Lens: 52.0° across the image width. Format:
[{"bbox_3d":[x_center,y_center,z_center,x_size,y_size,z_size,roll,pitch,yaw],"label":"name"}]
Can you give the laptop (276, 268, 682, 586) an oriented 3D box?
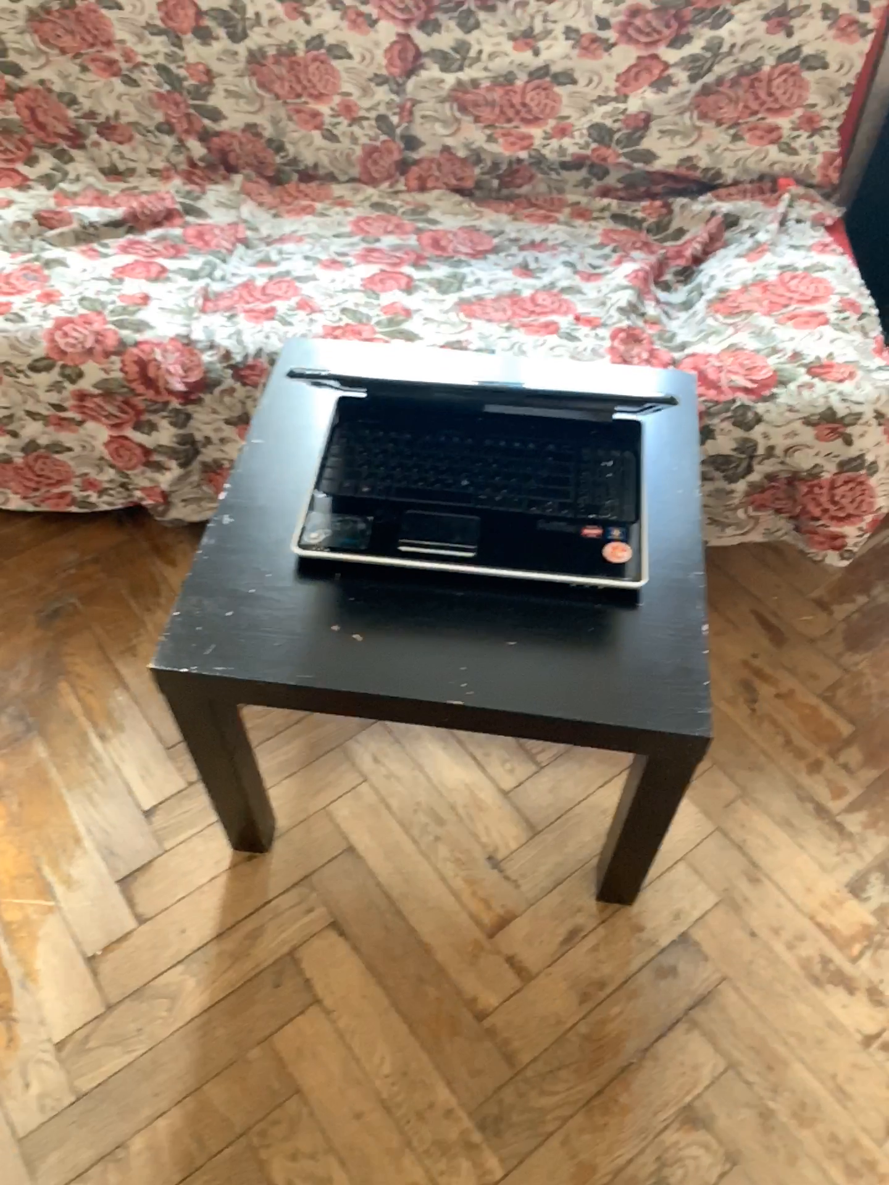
[{"bbox_3d":[0.043,-0.178,0.959,0.364,0.177,0.253,5,52,4],"label":"laptop"}]
